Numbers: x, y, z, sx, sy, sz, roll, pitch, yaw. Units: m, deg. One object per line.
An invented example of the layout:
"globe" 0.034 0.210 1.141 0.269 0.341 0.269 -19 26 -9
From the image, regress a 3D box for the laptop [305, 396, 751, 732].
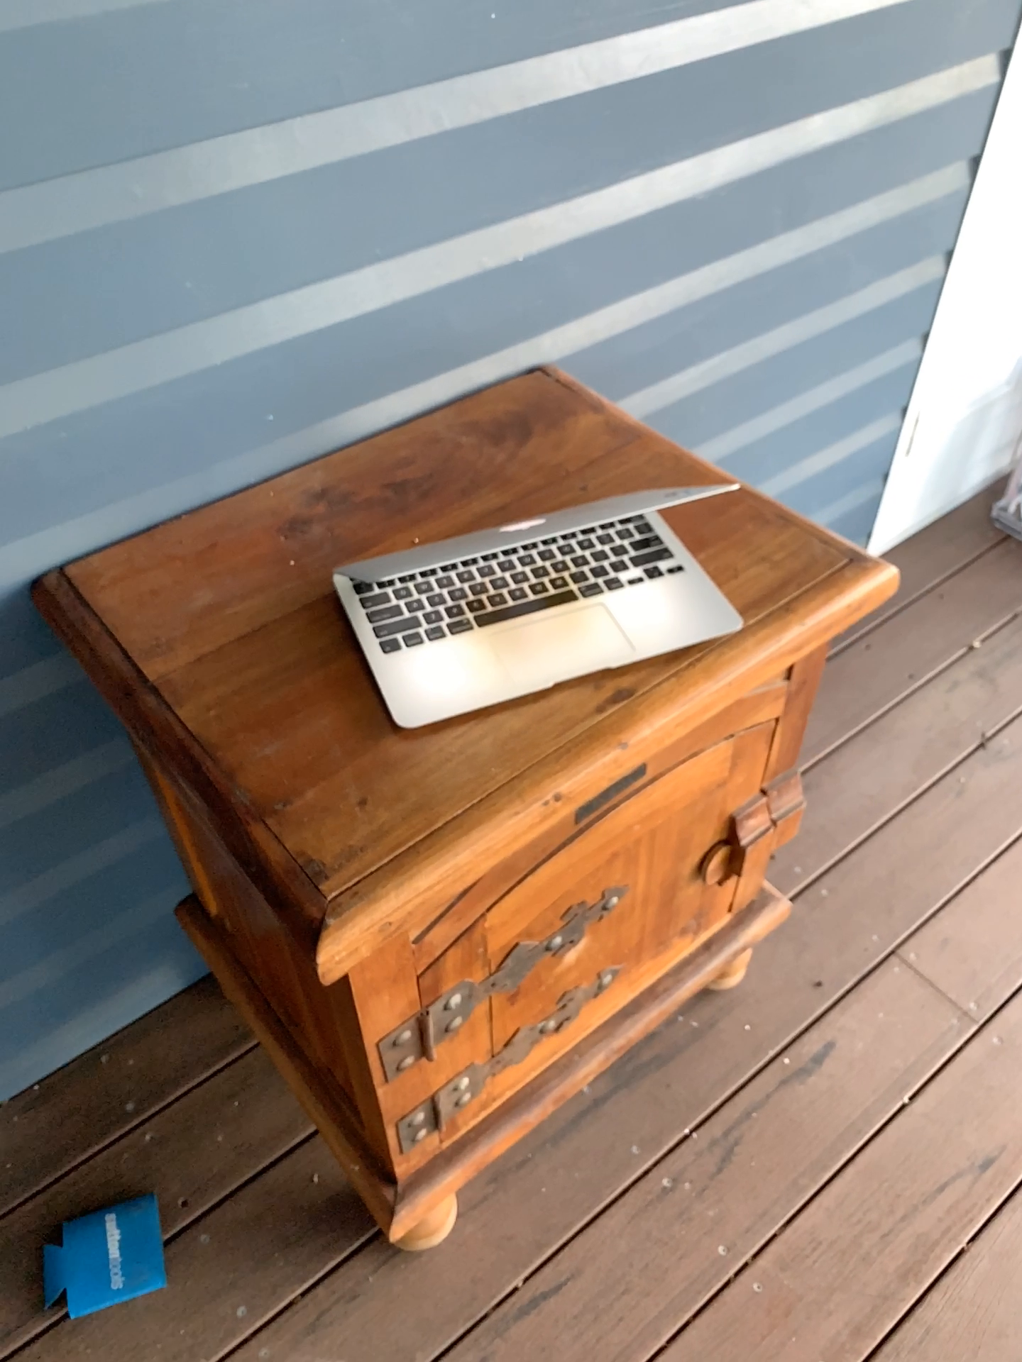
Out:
"laptop" 0.009 -0.099 0.811 0.282 0.099 0.180 -17 49 -15
